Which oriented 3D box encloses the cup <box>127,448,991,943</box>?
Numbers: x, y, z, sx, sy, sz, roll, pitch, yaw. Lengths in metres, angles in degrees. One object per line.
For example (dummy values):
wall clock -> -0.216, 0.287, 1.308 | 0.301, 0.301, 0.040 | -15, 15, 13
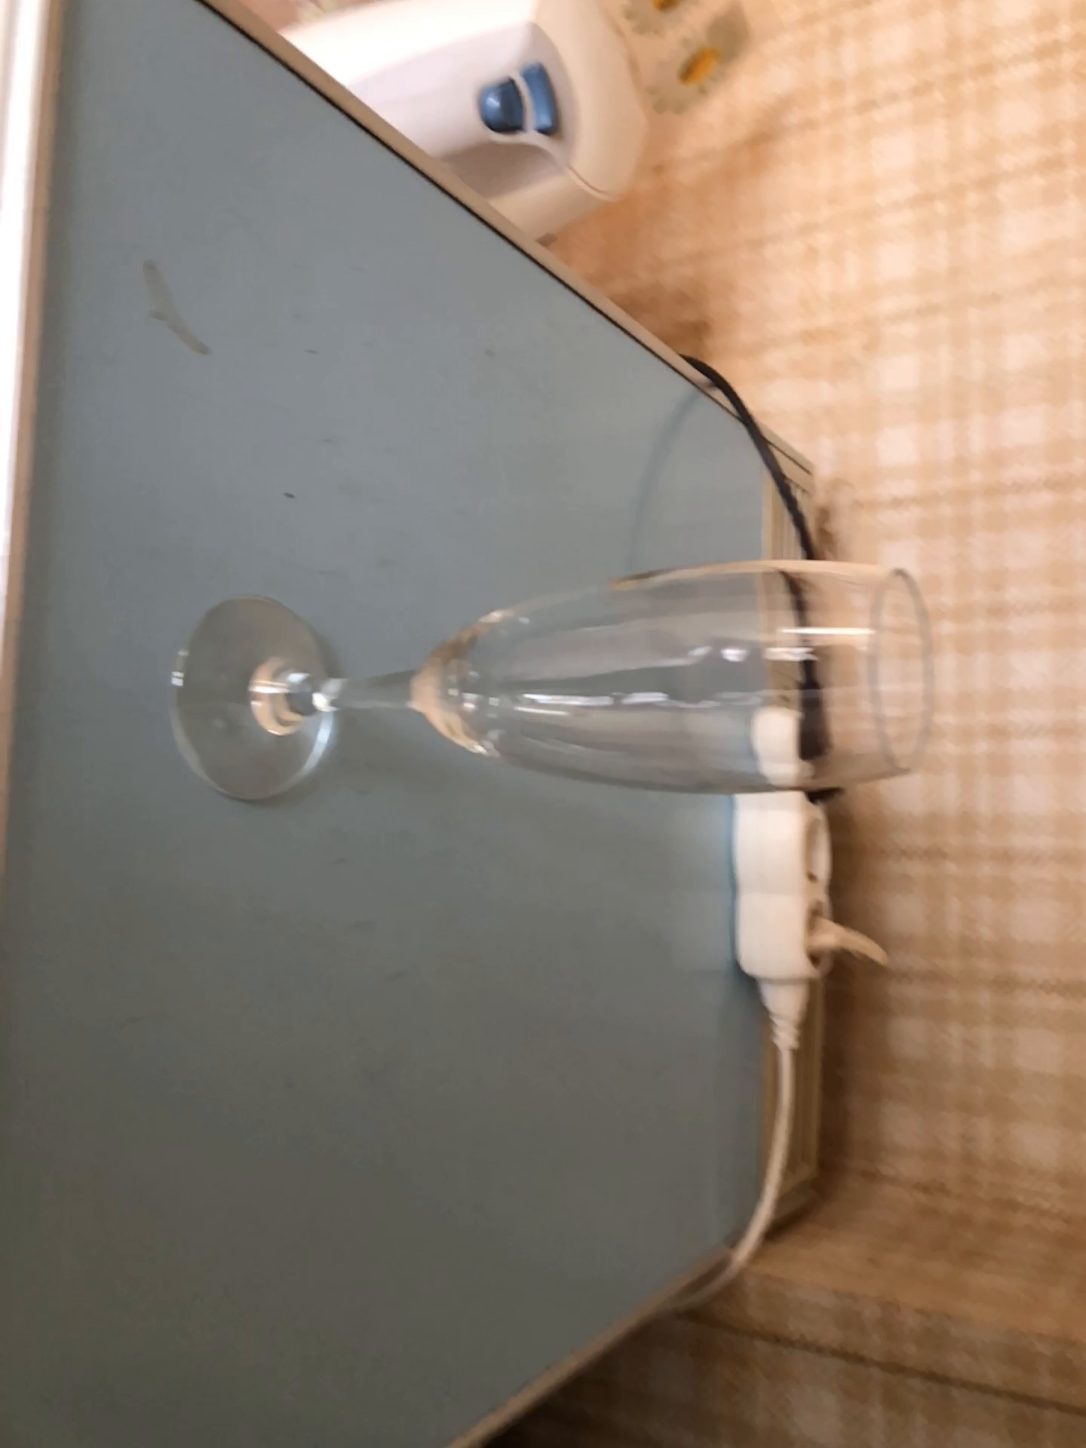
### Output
cup -> 0.000, -0.004, 0.307 | 0.091, 0.199, 0.090 | 6, 83, -59
